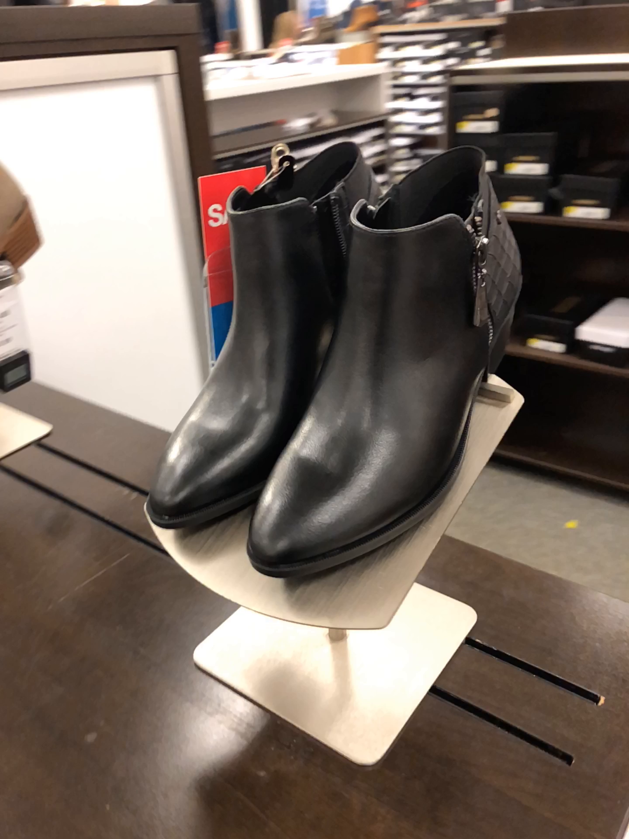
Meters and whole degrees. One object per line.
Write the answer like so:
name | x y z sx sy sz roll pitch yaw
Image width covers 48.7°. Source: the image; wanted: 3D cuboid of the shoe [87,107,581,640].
shoe | 0.032 -0.038 0.367 0.105 0.131 0.244 21 59 38

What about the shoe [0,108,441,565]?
shoe | -0.044 -0.062 0.422 0.105 0.131 0.244 21 59 38
